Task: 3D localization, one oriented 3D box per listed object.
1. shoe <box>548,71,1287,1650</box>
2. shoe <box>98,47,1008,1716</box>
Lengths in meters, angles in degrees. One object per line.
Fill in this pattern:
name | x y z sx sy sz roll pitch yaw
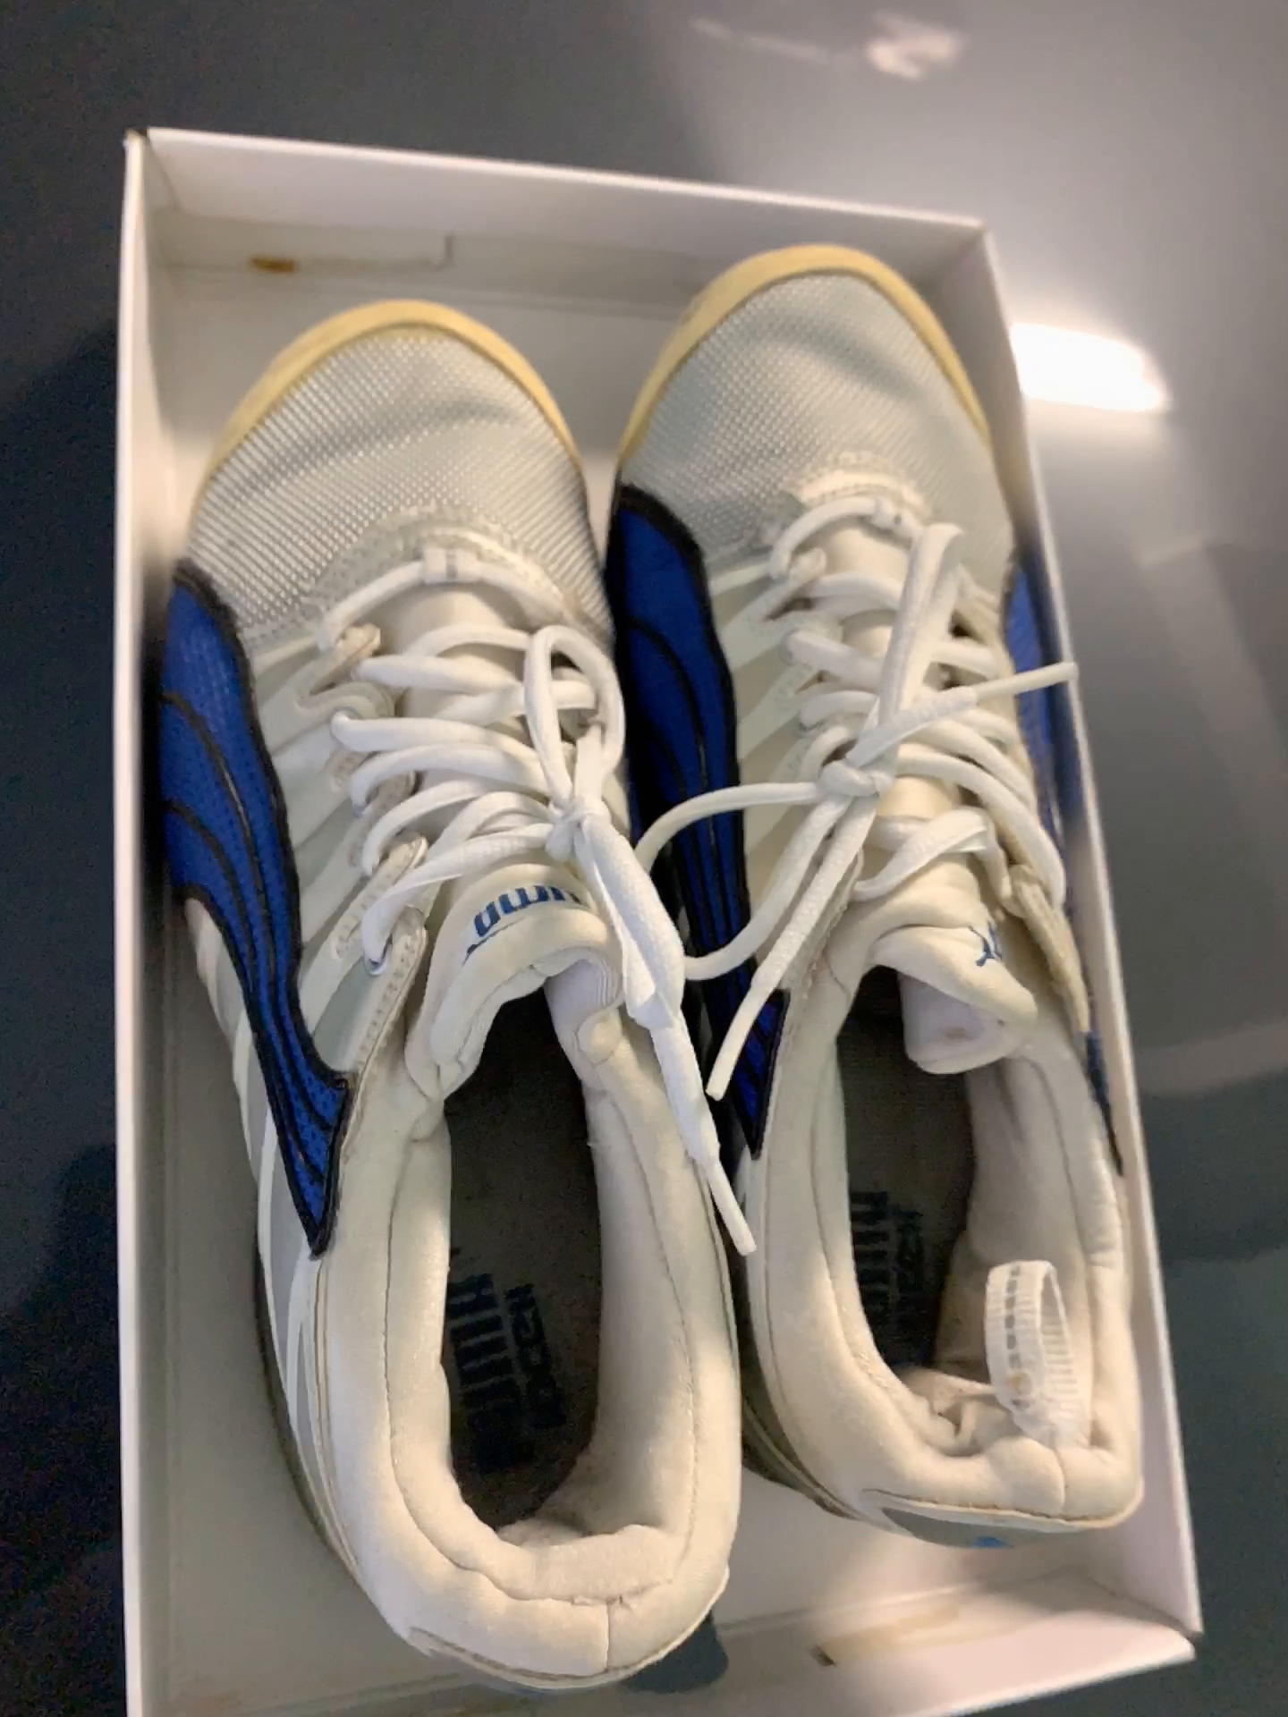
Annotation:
shoe | 0.053 -0.013 0.279 0.110 0.089 0.282 0 69 -15
shoe | -0.036 -0.005 0.255 0.110 0.089 0.281 -4 70 -16
